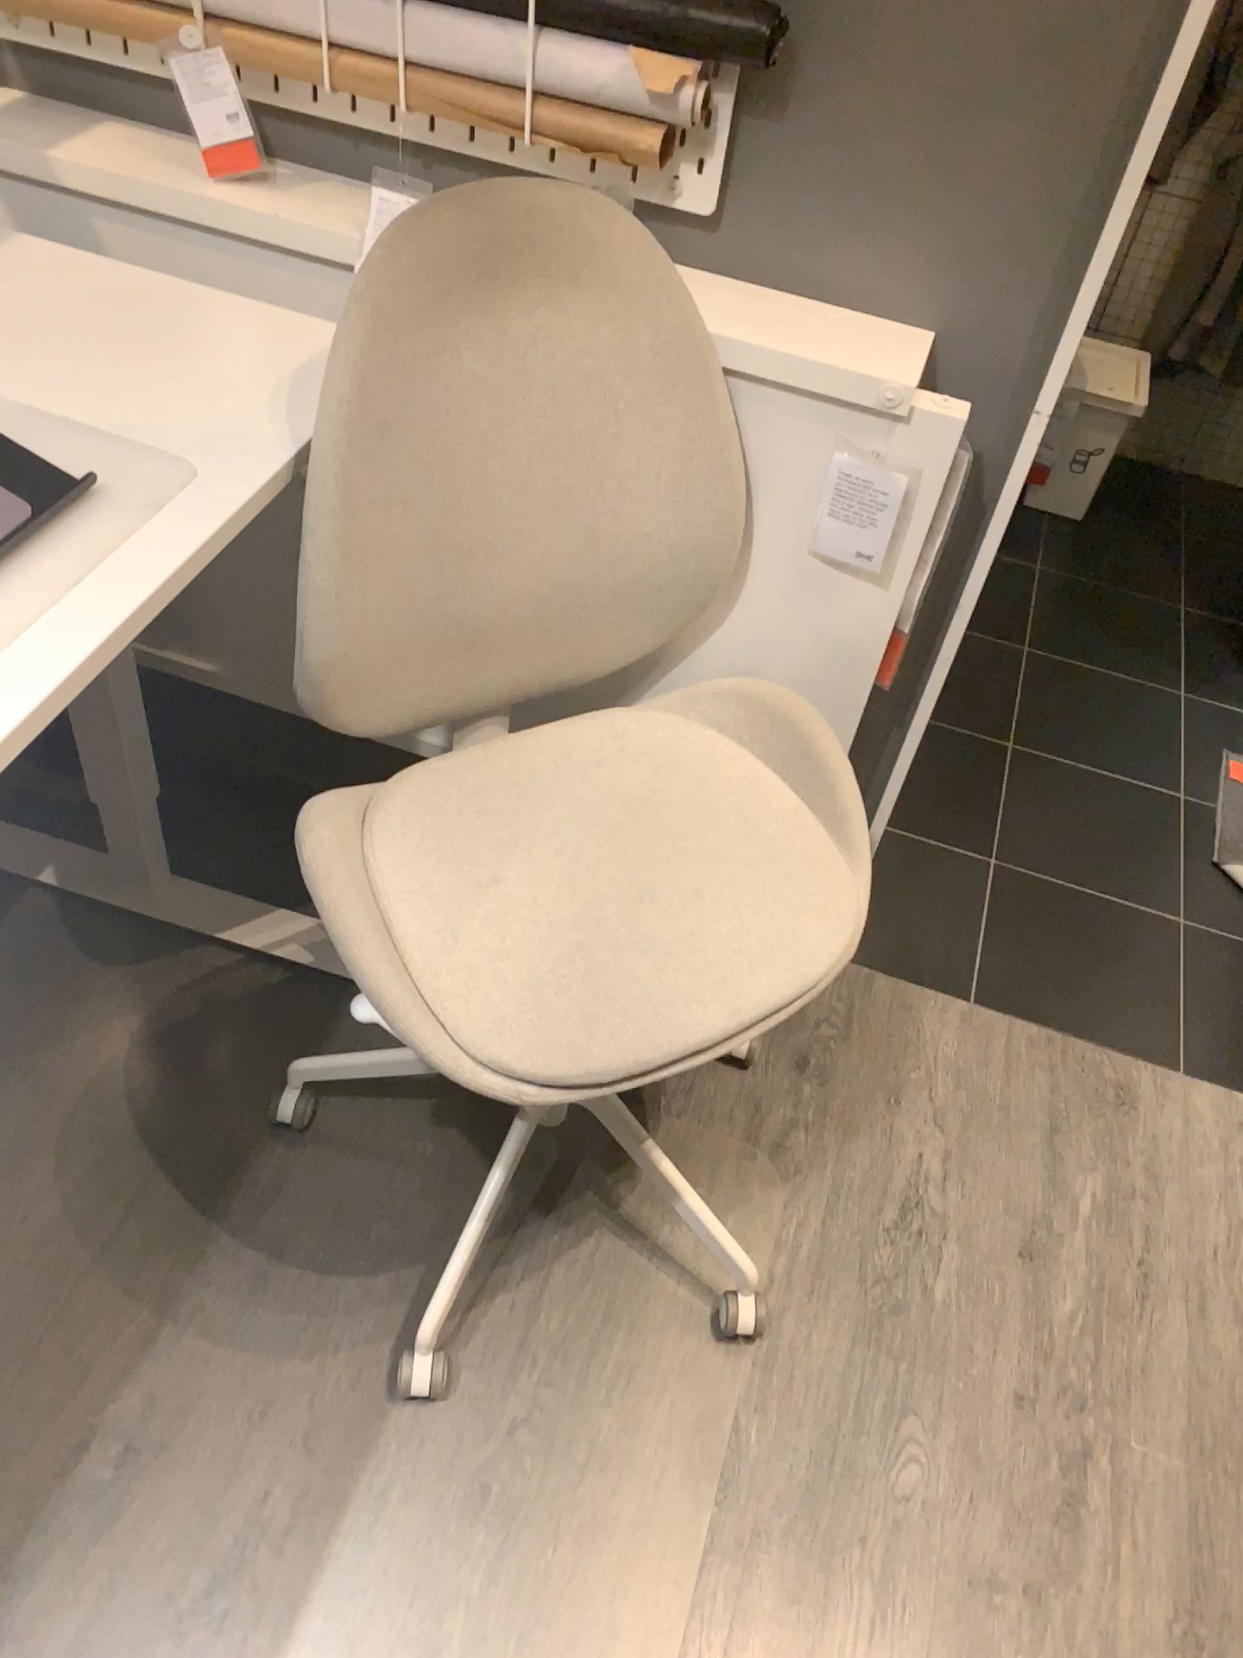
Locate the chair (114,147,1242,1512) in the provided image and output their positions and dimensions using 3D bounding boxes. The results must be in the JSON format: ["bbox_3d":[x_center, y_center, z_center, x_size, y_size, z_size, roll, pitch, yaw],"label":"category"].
[{"bbox_3d":[0.001,0.026,1.093,0.610,0.937,0.592,-12,50,-21],"label":"chair"}]
